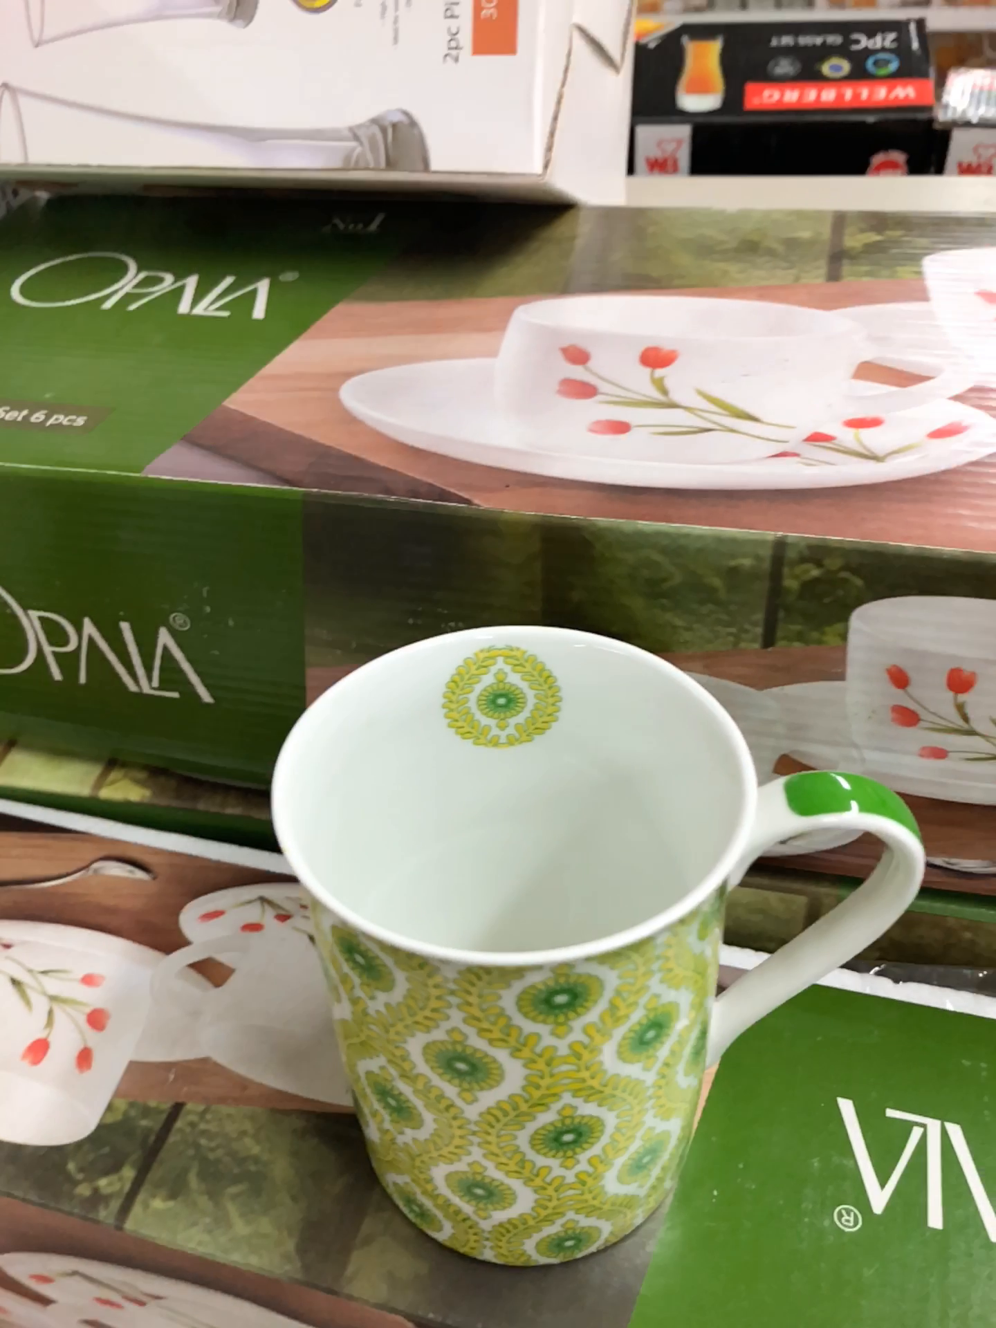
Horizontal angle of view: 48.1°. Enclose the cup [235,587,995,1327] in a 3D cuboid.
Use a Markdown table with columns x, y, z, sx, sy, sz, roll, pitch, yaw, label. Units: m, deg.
| x | y | z | sx | sy | sz | roll | pitch | yaw | label |
| --- | --- | --- | --- | --- | --- | --- | --- | --- | --- |
| 0.020 | 0.053 | 0.190 | 0.110 | 0.090 | 0.080 | -9 | 35 | -10 | cup |
